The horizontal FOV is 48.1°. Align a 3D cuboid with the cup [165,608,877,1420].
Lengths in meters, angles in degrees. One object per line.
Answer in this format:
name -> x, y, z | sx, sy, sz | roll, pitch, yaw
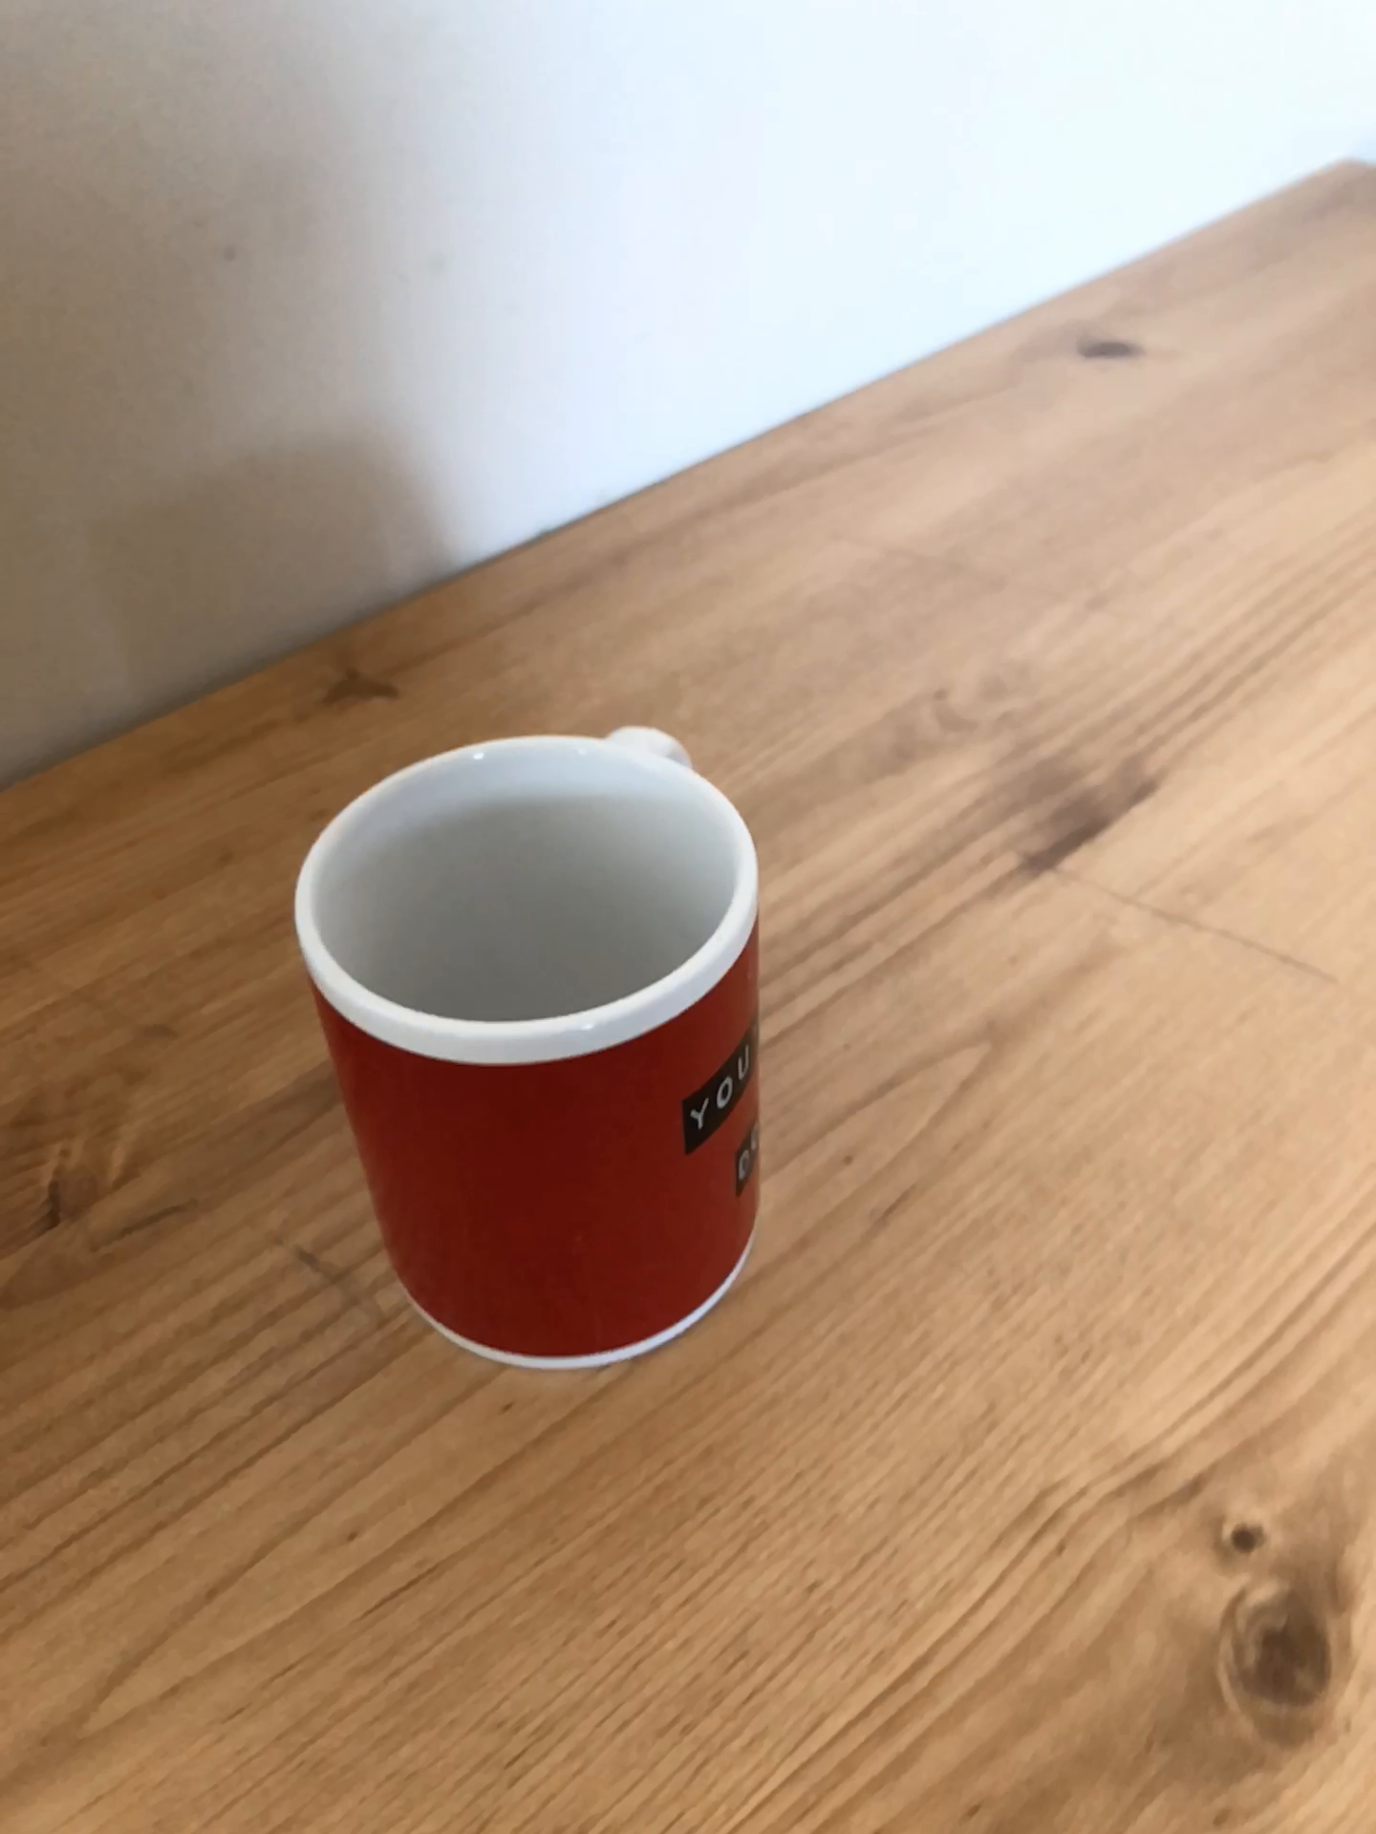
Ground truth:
cup -> -0.020, 0.012, 0.307 | 0.091, 0.086, 0.124 | 9, 43, 14
